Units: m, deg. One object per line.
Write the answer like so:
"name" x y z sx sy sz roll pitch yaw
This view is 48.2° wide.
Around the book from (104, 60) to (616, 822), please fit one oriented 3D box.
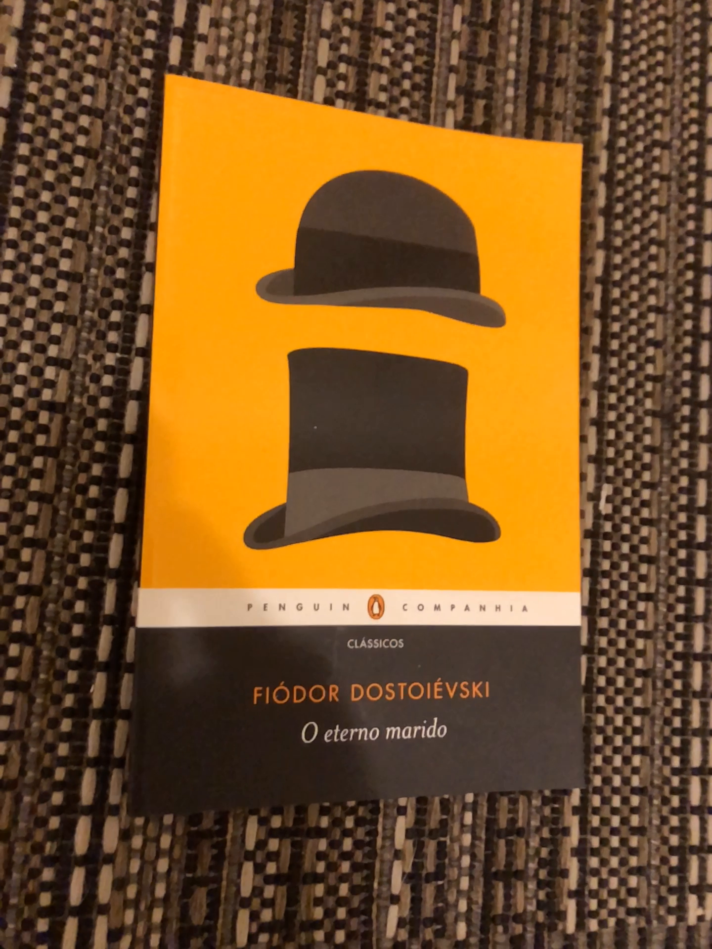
"book" 0.006 -0.008 0.214 0.130 0.020 0.180 3 83 -16
